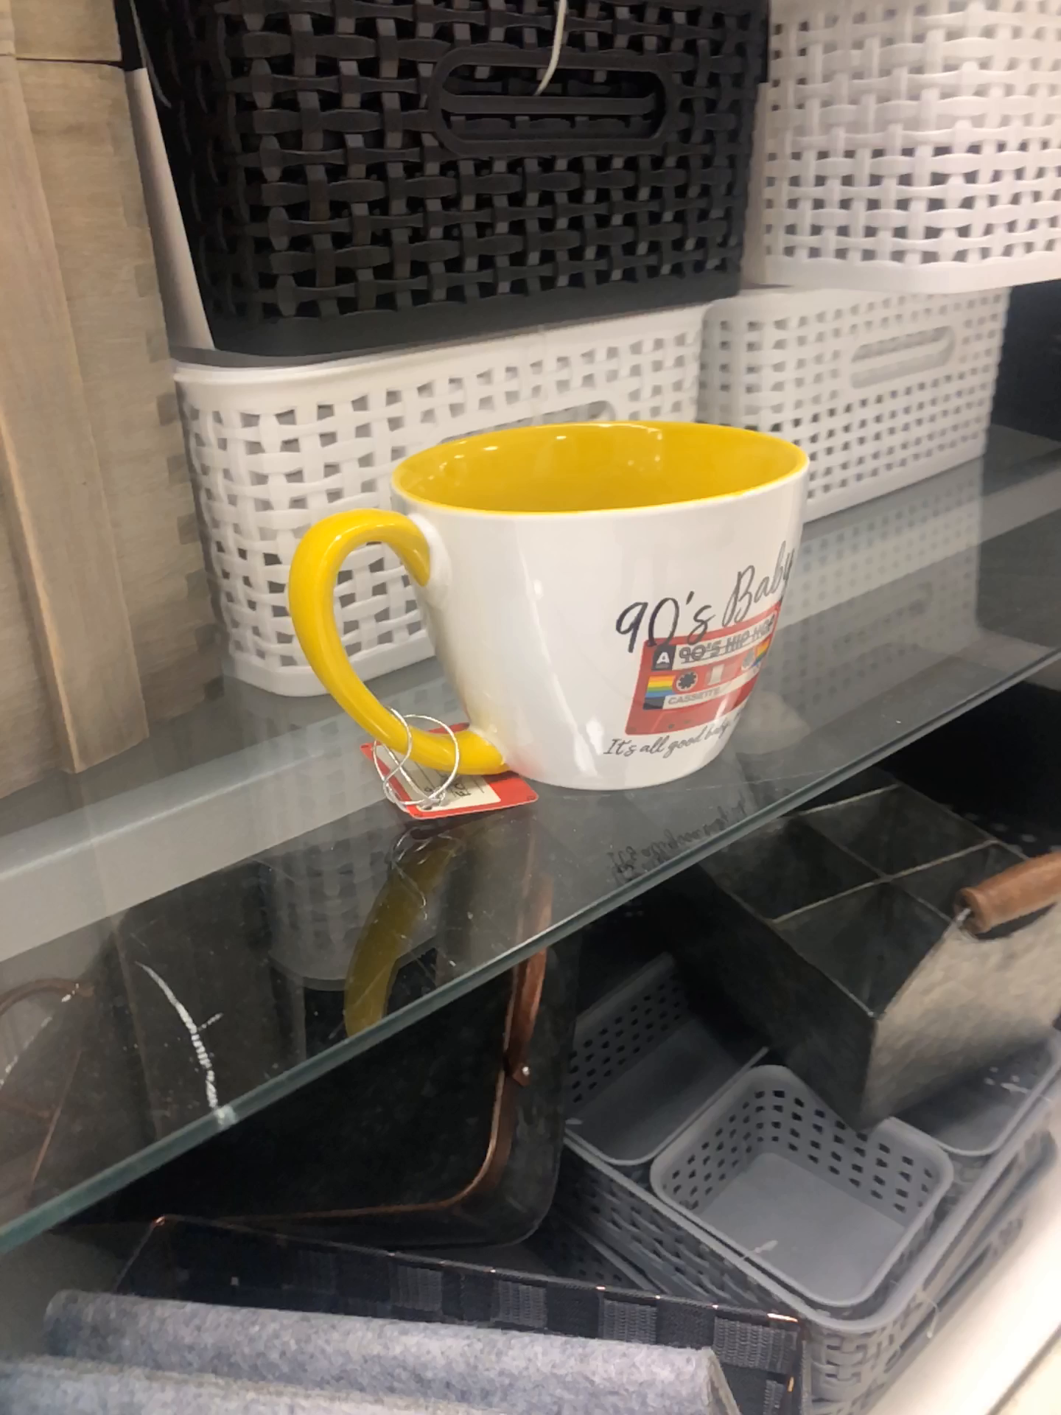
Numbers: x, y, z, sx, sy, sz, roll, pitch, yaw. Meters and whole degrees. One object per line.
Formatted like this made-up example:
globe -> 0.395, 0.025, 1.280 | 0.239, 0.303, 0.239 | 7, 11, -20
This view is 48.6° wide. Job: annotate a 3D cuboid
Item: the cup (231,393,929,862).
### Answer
cup -> 0.015, -0.039, 0.354 | 0.157, 0.076, 0.127 | -19, 30, -36
